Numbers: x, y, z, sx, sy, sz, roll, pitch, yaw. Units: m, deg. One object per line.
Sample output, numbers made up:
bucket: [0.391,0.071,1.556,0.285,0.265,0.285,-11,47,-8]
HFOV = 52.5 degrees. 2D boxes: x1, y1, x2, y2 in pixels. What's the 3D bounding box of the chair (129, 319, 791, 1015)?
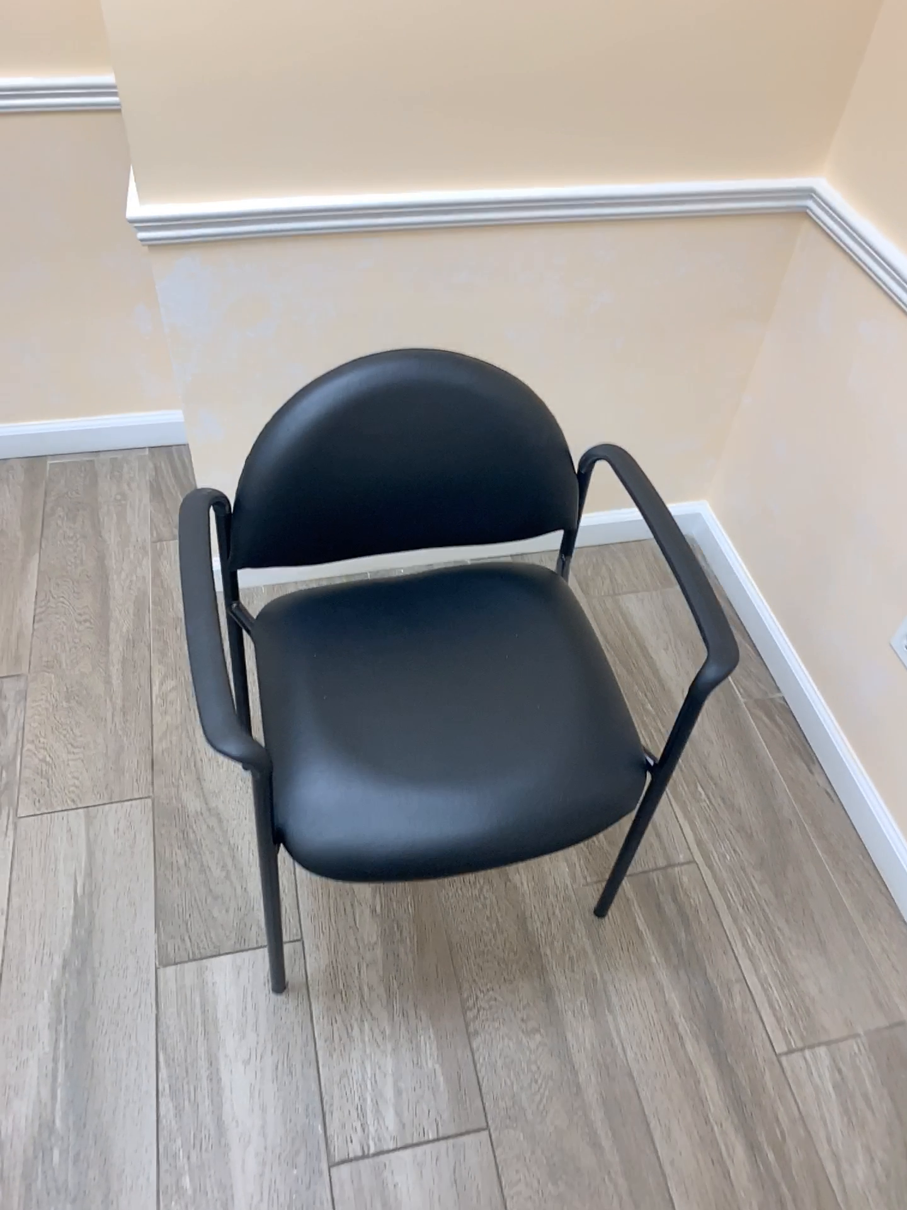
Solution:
chair: [-0.053,0.102,1.235,0.583,0.727,0.512,-9,50,-12]
